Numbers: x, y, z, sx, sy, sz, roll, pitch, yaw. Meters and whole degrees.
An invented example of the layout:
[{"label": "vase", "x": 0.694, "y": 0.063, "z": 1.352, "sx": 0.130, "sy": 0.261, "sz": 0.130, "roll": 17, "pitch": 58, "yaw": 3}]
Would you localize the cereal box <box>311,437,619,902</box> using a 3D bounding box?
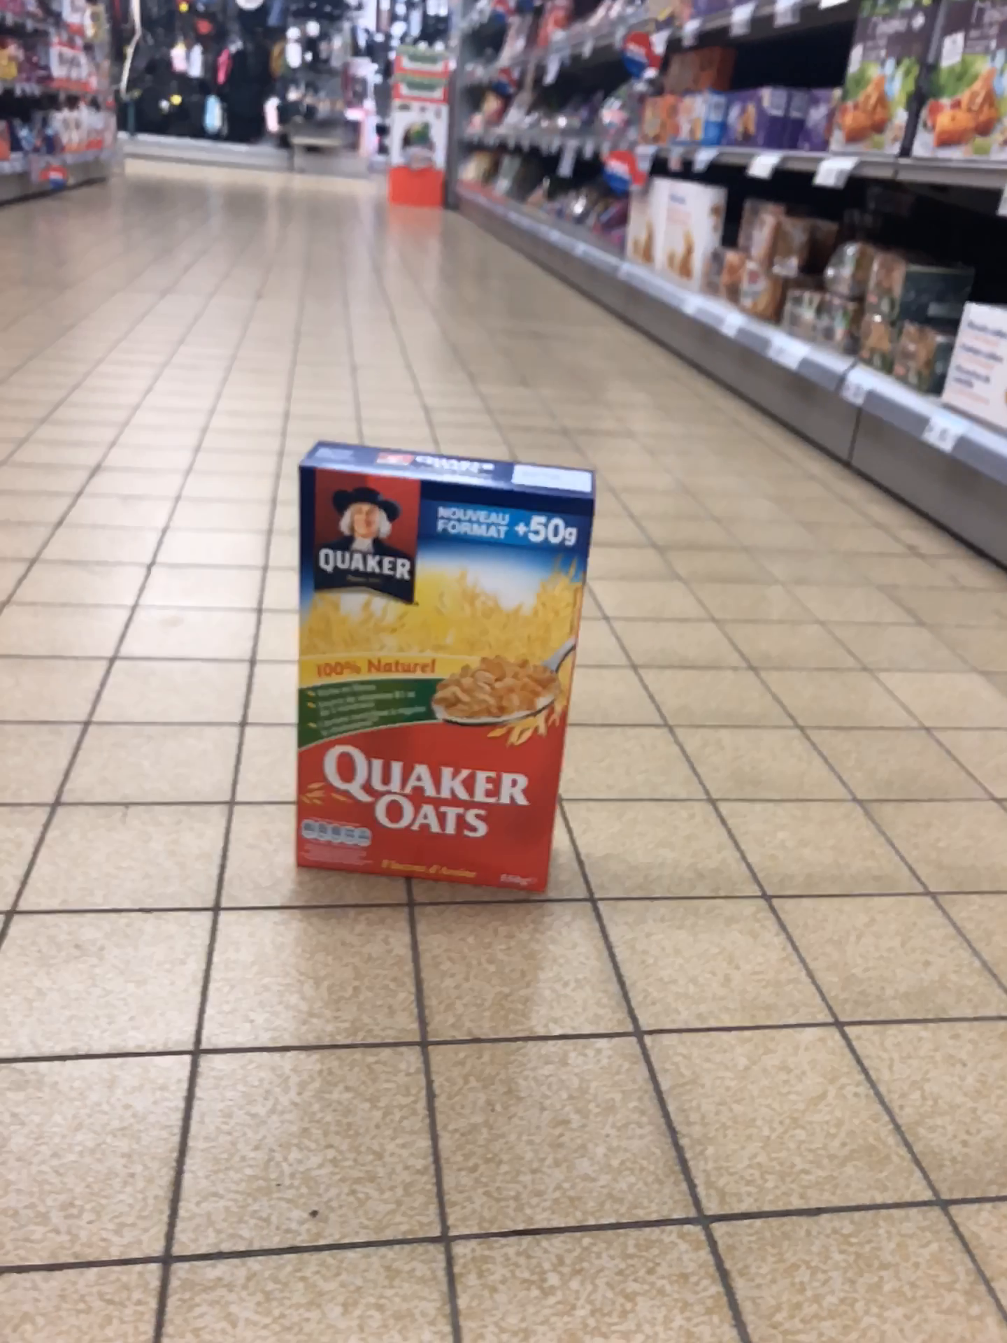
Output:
[{"label": "cereal box", "x": -0.024, "y": 0.003, "z": 0.586, "sx": 0.140, "sy": 0.229, "sz": 0.050, "roll": 7, "pitch": 24, "yaw": 2}]
